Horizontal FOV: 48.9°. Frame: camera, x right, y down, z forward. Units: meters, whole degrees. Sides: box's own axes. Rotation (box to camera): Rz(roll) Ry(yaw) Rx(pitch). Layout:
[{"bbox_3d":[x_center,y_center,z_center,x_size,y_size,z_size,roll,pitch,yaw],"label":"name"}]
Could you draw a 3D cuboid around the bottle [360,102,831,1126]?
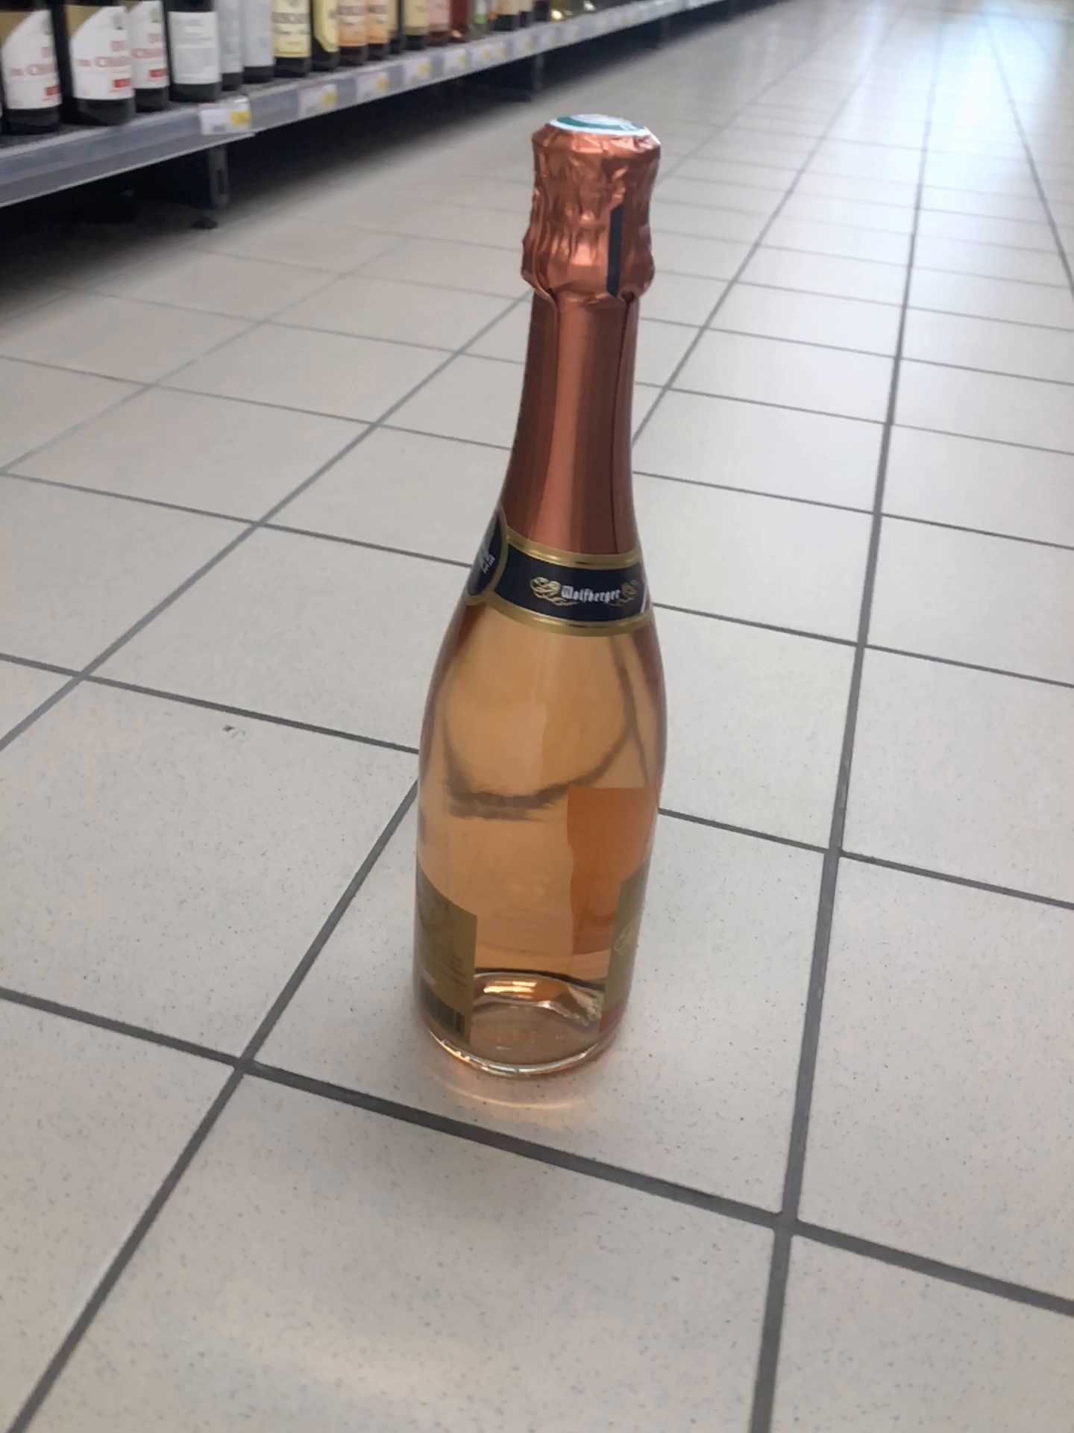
[{"bbox_3d":[0.000,-0.016,0.377,0.090,0.308,0.090,3,33,-2],"label":"bottle"}]
